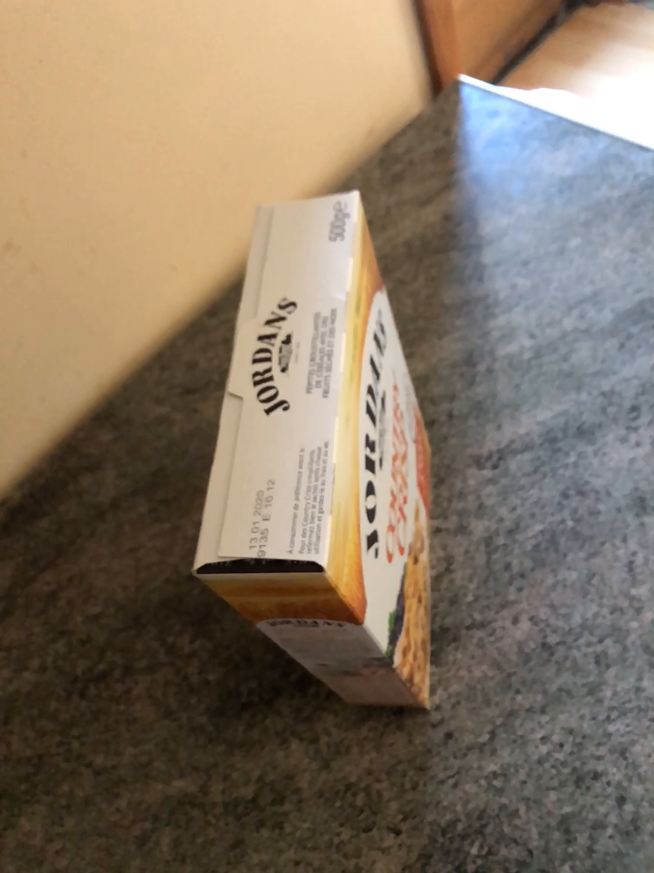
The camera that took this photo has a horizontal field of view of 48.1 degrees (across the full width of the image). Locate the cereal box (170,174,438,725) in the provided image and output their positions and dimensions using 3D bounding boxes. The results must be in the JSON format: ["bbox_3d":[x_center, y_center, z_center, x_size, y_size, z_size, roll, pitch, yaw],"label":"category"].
[{"bbox_3d":[0.012,0.028,0.393,0.060,0.249,0.191,-5,57,14],"label":"cereal box"}]
